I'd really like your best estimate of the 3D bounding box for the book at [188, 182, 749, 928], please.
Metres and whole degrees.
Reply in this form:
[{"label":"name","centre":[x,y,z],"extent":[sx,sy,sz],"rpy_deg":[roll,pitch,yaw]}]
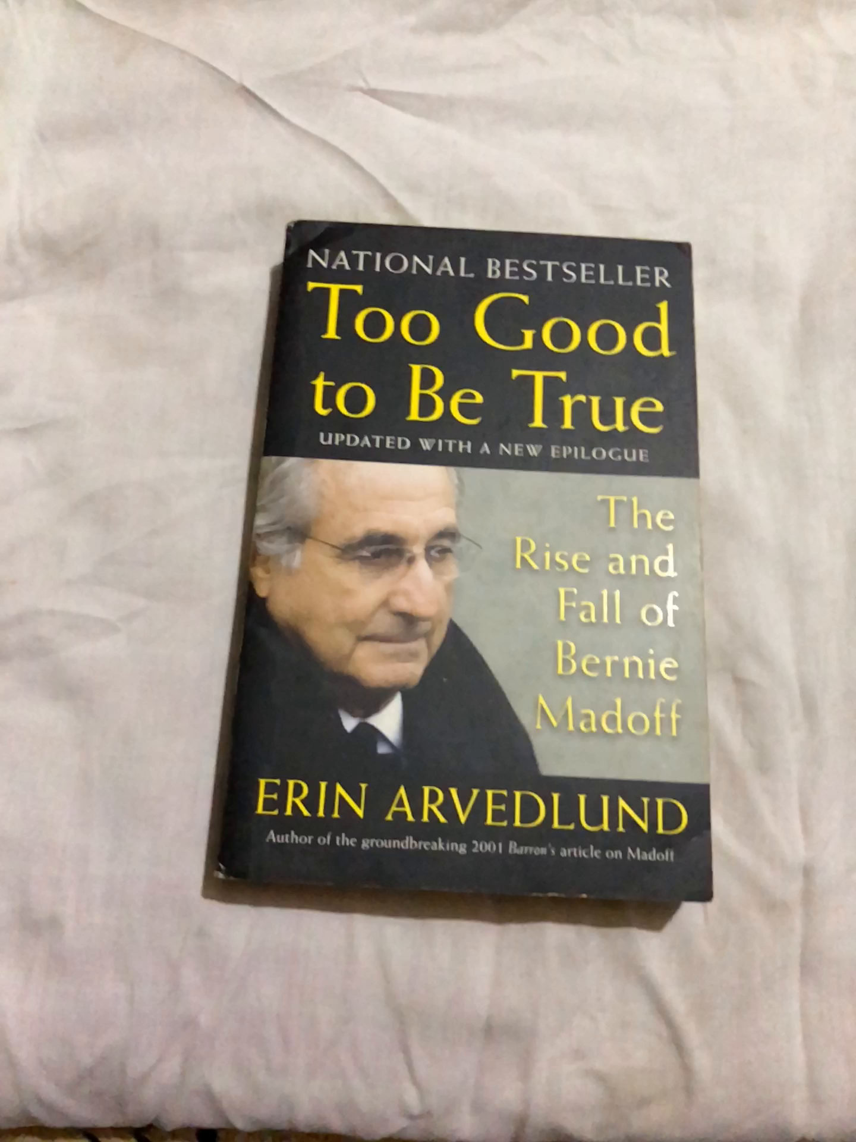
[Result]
[{"label":"book","centre":[0.016,-0.014,0.303],"extent":[0.150,0.030,0.230],"rpy_deg":[2,73,2]}]
